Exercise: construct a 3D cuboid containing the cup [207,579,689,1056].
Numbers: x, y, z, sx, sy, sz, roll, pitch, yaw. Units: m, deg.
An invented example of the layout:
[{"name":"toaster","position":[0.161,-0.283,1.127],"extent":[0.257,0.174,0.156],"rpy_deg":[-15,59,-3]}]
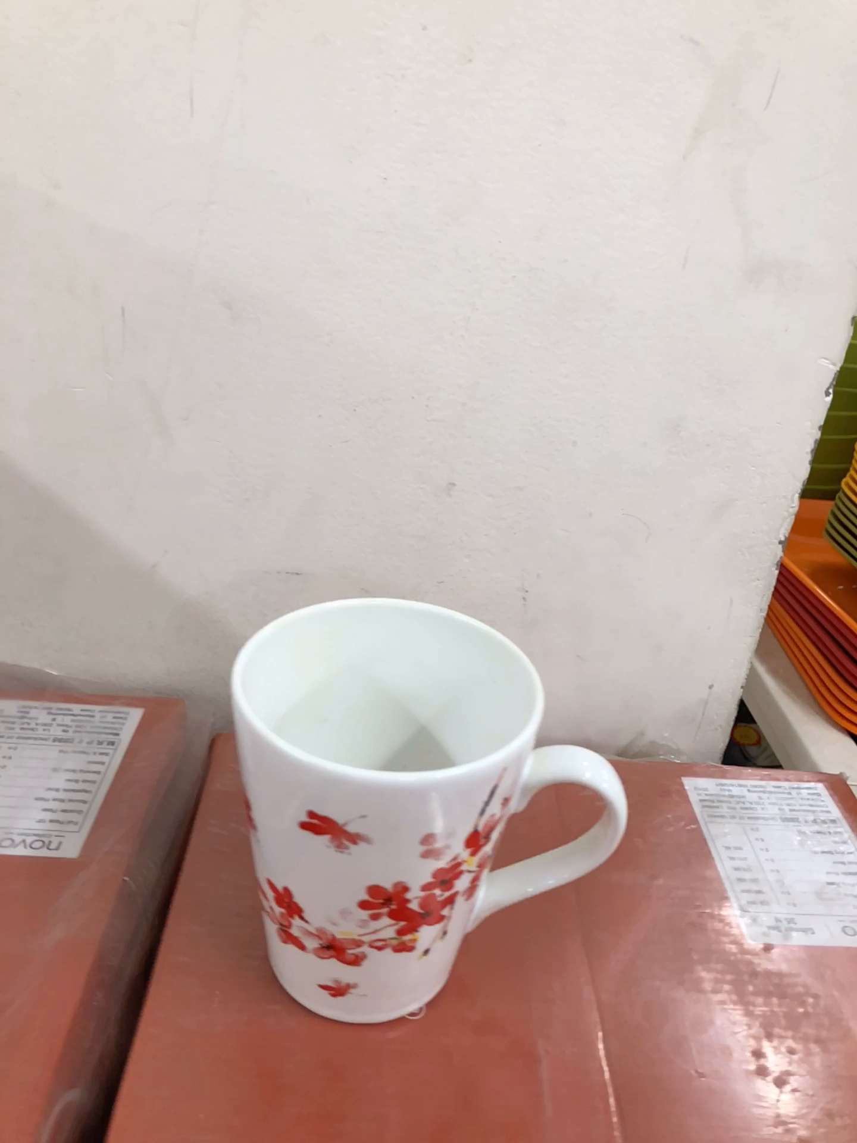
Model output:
[{"name":"cup","position":[-0.003,0.067,0.271],"extent":[0.110,0.099,0.080],"rpy_deg":[2,27,-8]}]
